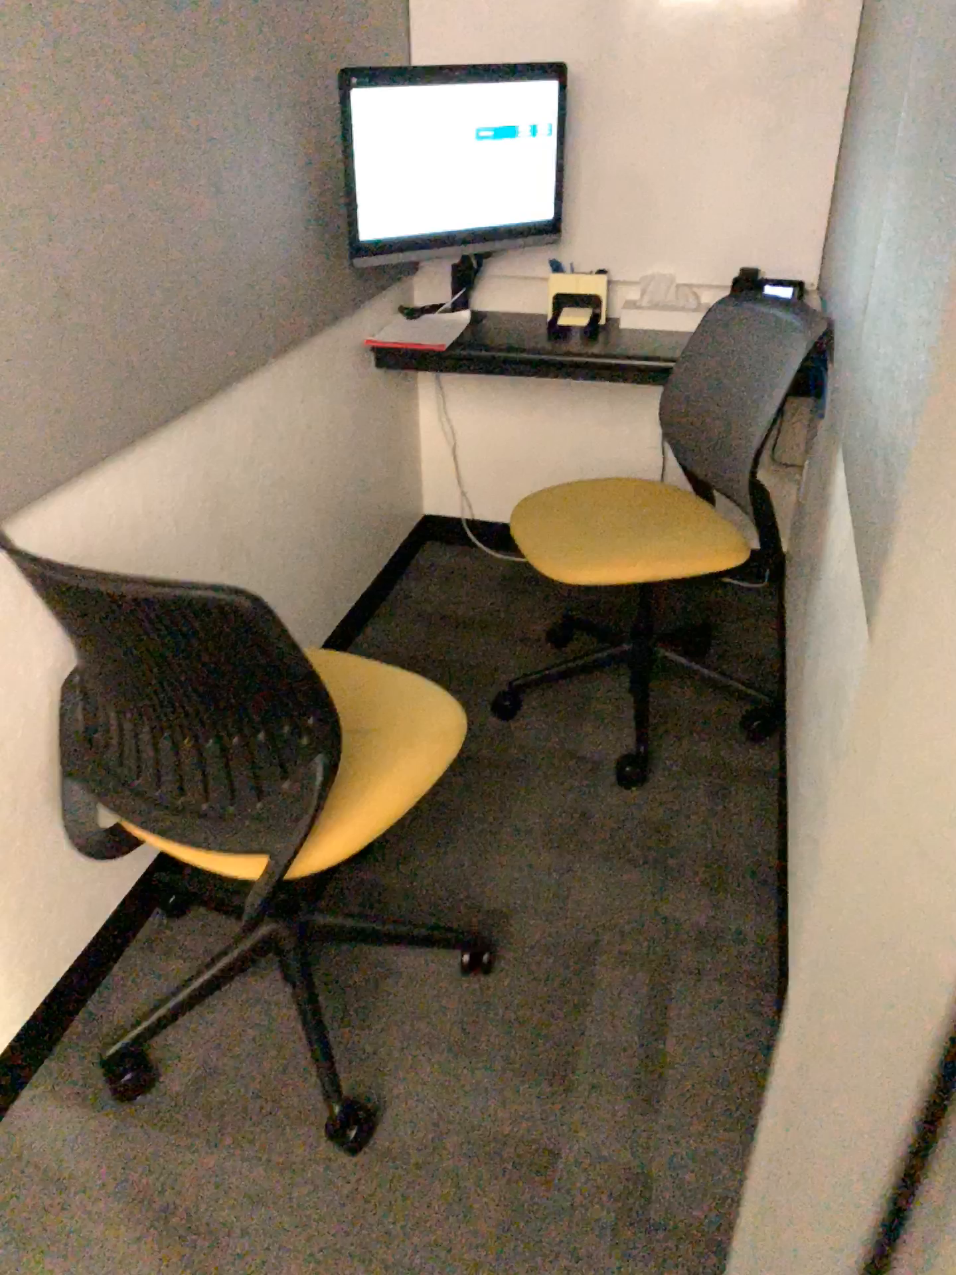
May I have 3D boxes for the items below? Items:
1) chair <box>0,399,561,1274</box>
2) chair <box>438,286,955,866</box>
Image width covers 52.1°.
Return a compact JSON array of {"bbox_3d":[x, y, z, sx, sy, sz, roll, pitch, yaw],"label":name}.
[{"bbox_3d":[-0.285,0.218,1.306,0.551,0.845,0.572,18,35,27],"label":"chair"},{"bbox_3d":[0.509,-0.232,2.502,0.950,1.034,0.925,-11,33,-18],"label":"chair"}]
